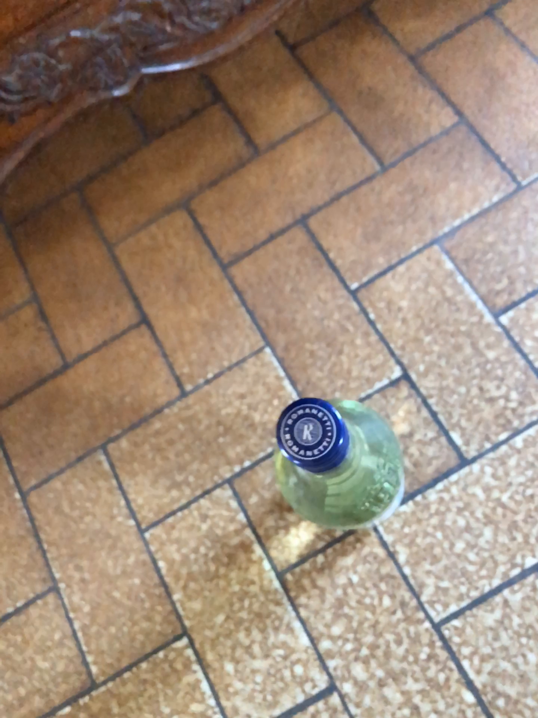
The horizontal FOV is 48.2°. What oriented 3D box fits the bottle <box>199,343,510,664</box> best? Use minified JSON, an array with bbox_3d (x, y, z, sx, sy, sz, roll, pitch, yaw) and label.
[{"bbox_3d":[0.066,0.097,0.400,0.100,0.300,0.100,-3,74,12],"label":"bottle"}]
